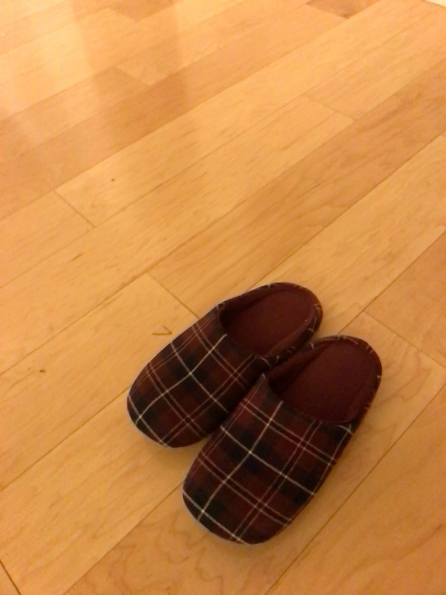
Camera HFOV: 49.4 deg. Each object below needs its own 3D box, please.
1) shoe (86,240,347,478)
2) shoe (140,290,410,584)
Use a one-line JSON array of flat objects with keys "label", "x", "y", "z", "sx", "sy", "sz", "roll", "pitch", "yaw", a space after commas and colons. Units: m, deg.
[{"label": "shoe", "x": 0.000, "y": 0.053, "z": 0.528, "sx": 0.261, "sy": 0.050, "sz": 0.120, "roll": -37, "pitch": 58, "yaw": -21}, {"label": "shoe", "x": 0.061, "y": 0.121, "z": 0.489, "sx": 0.120, "sy": 0.050, "sz": 0.271, "roll": 33, "pitch": 62, "yaw": 26}]
